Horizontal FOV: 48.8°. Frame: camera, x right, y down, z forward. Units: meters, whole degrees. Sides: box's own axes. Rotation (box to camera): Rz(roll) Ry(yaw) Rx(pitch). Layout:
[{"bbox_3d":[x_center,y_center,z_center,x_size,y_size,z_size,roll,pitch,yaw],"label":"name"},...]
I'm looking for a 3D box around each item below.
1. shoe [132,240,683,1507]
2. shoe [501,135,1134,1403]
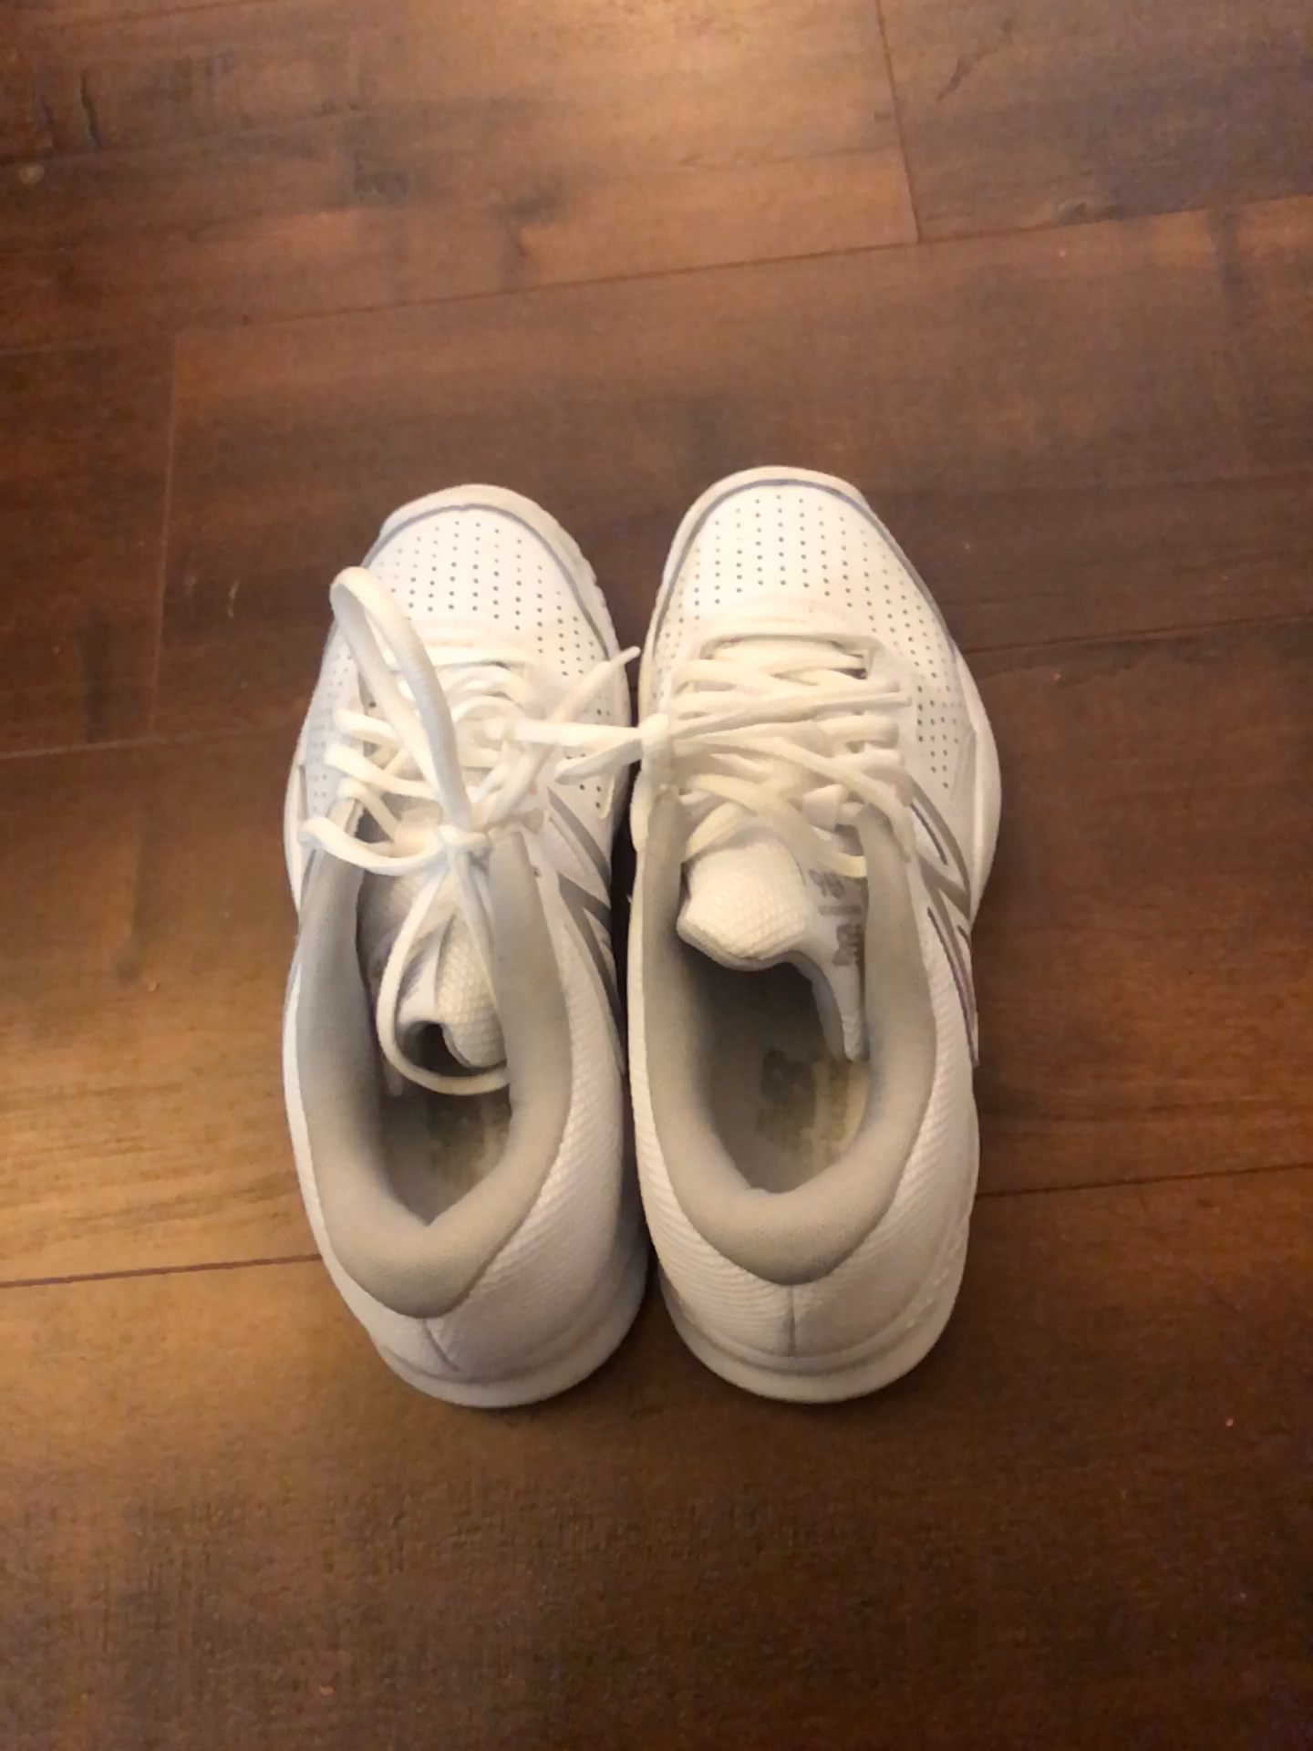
[{"bbox_3d":[-0.056,-0.001,0.398,0.100,0.130,0.311,-5,68,3],"label":"shoe"},{"bbox_3d":[0.039,-0.018,0.412,0.120,0.170,0.311,-3,68,7],"label":"shoe"}]
